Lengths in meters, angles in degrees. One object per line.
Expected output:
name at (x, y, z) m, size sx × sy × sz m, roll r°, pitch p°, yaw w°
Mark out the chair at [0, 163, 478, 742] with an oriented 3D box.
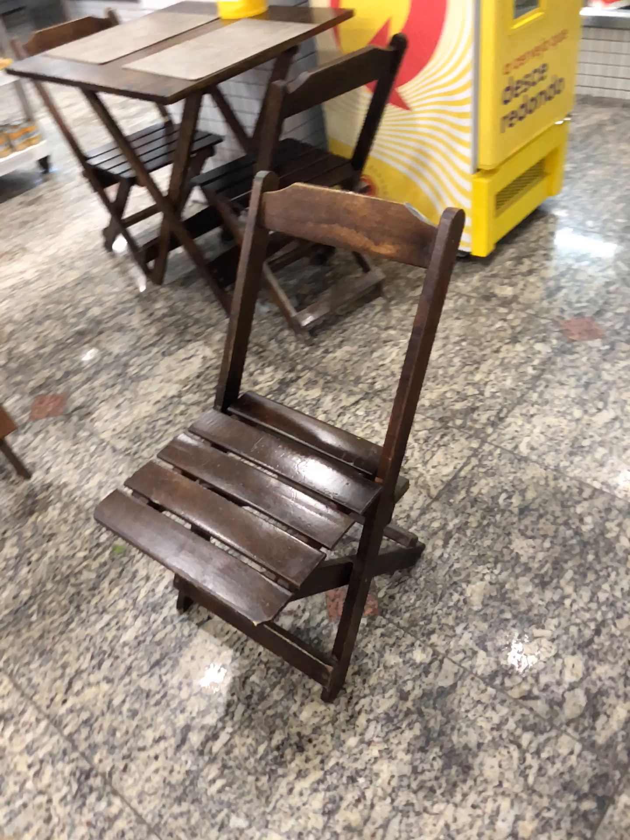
chair at (-0.058, 0.041, 1.186) m, size 0.442 × 0.705 × 0.552 m, roll 22°, pitch 50°, yaw 31°
